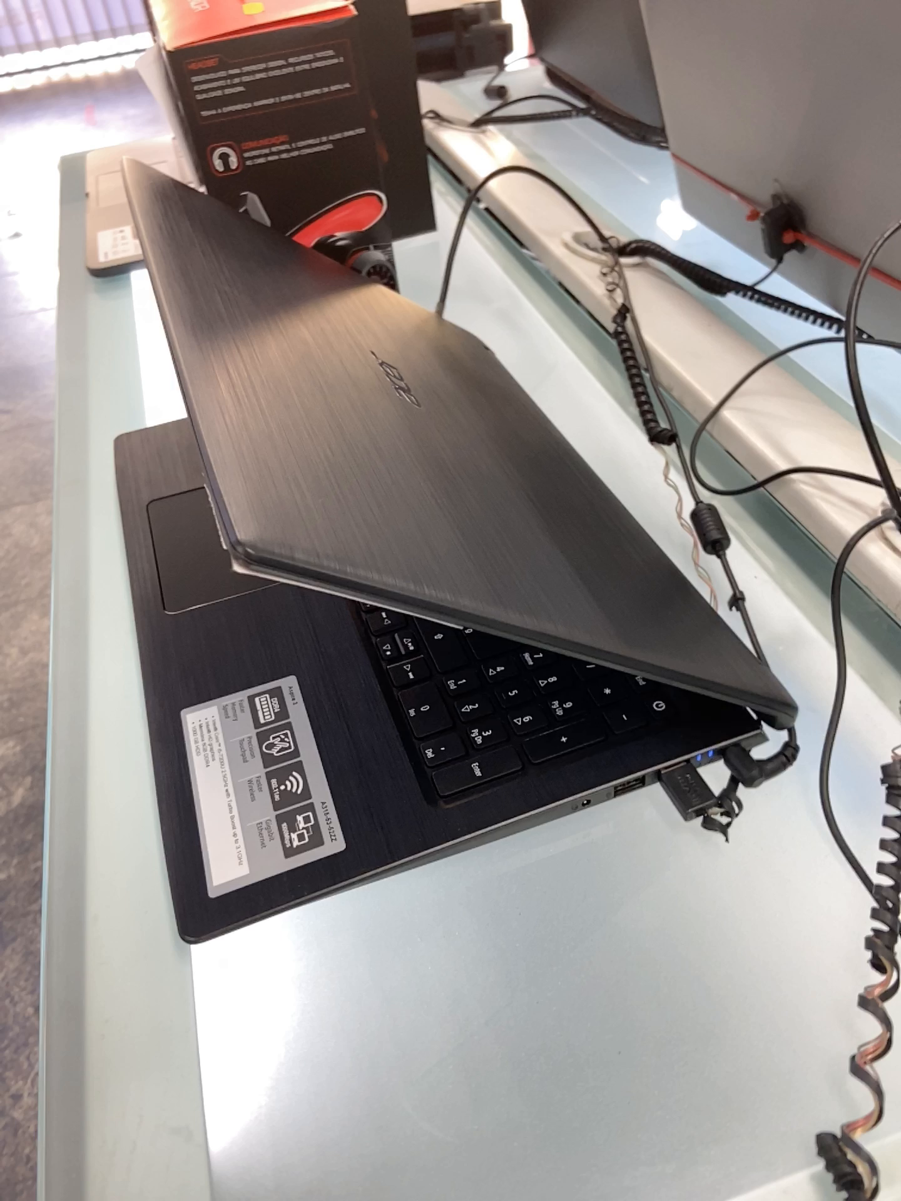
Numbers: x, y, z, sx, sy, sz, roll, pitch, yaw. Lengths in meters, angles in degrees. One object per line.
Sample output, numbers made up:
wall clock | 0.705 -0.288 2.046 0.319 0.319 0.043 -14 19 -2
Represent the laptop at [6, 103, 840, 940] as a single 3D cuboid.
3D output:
laptop | -0.051 -0.084 0.438 0.238 0.157 0.372 -17 43 -10
